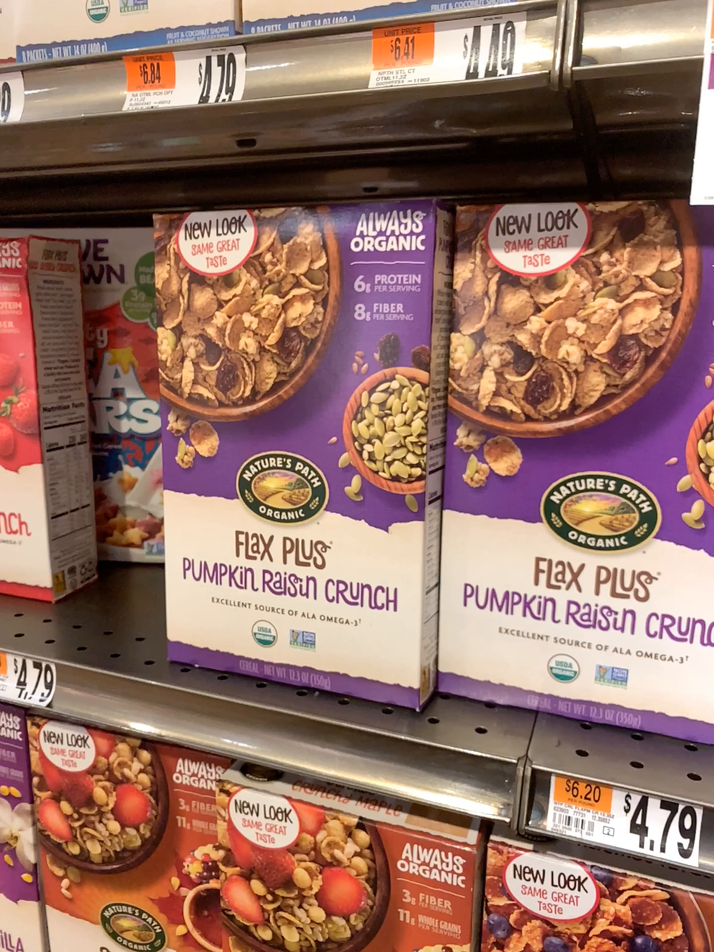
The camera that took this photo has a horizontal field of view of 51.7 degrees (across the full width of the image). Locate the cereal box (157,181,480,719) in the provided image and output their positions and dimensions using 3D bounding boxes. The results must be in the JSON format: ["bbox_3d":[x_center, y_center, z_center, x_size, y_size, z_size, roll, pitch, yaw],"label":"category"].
[{"bbox_3d":[-0.026,-0.016,0.421,0.170,0.269,0.050,5,10,22],"label":"cereal box"}]
